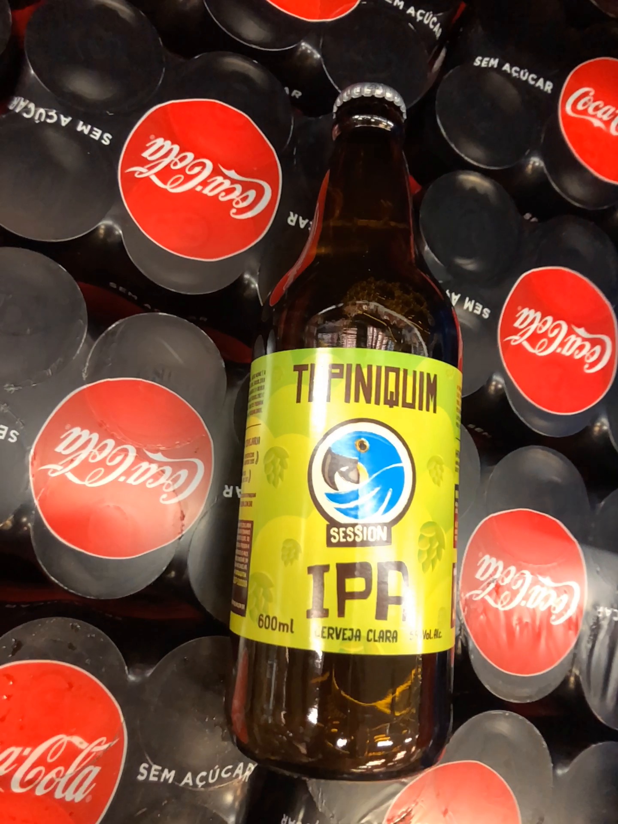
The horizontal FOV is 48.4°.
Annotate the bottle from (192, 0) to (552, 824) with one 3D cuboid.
[{"bbox_3d":[0.020,-0.015,0.232,0.090,0.070,0.260,6,80,-15],"label":"bottle"}]
